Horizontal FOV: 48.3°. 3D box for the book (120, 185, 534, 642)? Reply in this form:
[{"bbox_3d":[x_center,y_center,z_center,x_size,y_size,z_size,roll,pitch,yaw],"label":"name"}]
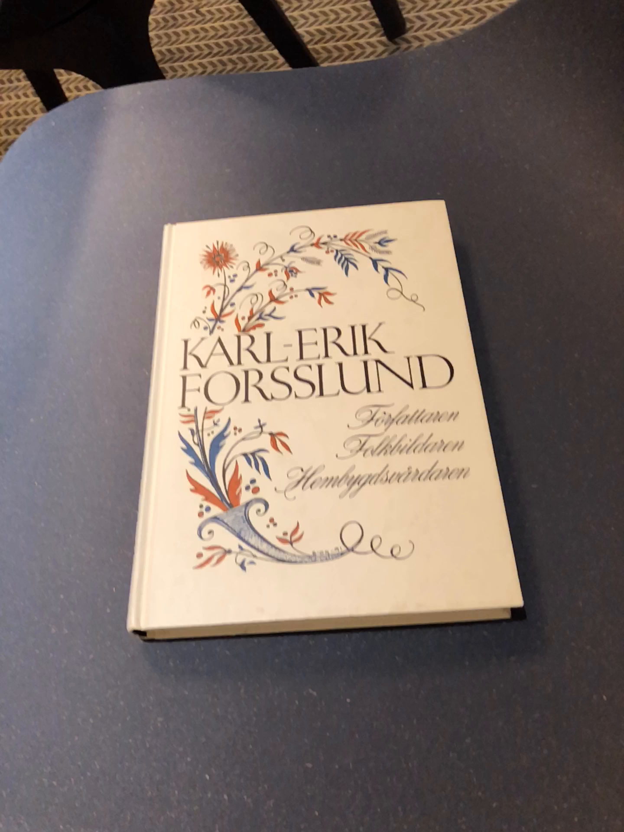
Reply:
[{"bbox_3d":[0.002,-0.015,0.345,0.164,0.028,0.233,-4,60,4],"label":"book"}]
